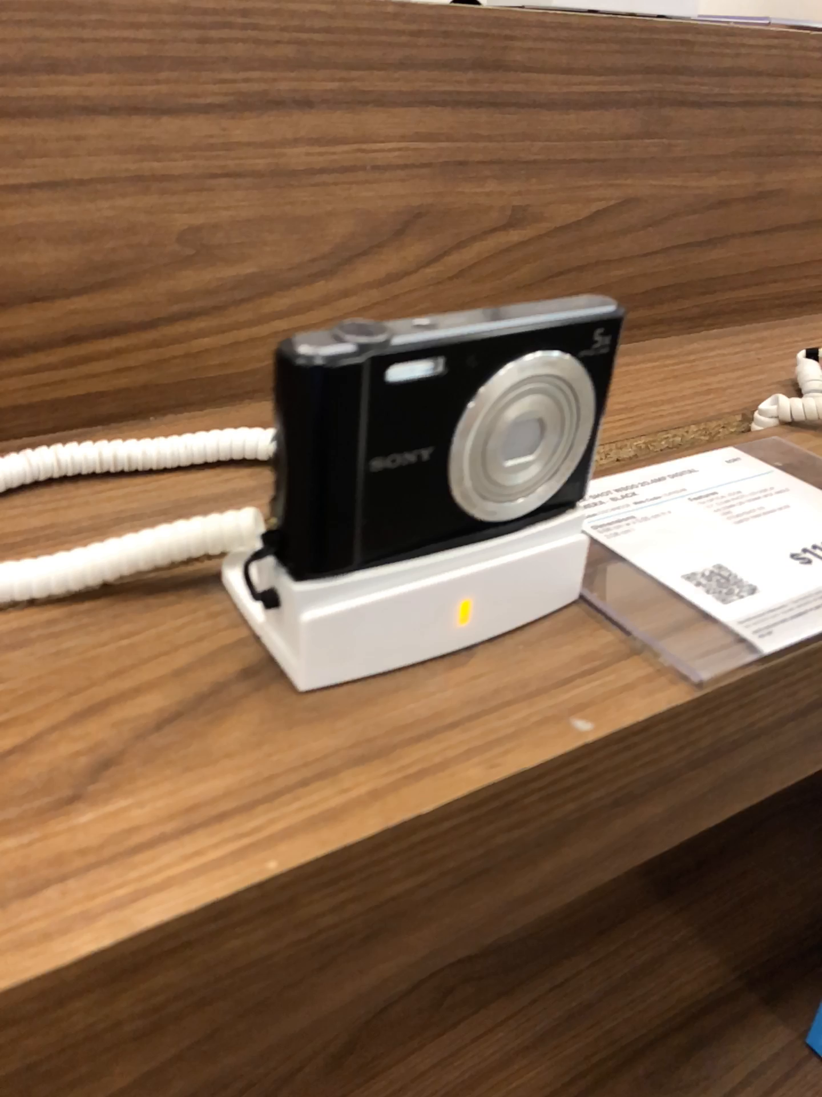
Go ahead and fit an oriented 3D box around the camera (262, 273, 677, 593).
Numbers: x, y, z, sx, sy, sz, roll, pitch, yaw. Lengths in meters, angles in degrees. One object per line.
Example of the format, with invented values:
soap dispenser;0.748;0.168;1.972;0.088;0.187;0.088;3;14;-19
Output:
camera;0.014;-0.031;0.223;0.100;0.060;0.020;-15;40;-28
